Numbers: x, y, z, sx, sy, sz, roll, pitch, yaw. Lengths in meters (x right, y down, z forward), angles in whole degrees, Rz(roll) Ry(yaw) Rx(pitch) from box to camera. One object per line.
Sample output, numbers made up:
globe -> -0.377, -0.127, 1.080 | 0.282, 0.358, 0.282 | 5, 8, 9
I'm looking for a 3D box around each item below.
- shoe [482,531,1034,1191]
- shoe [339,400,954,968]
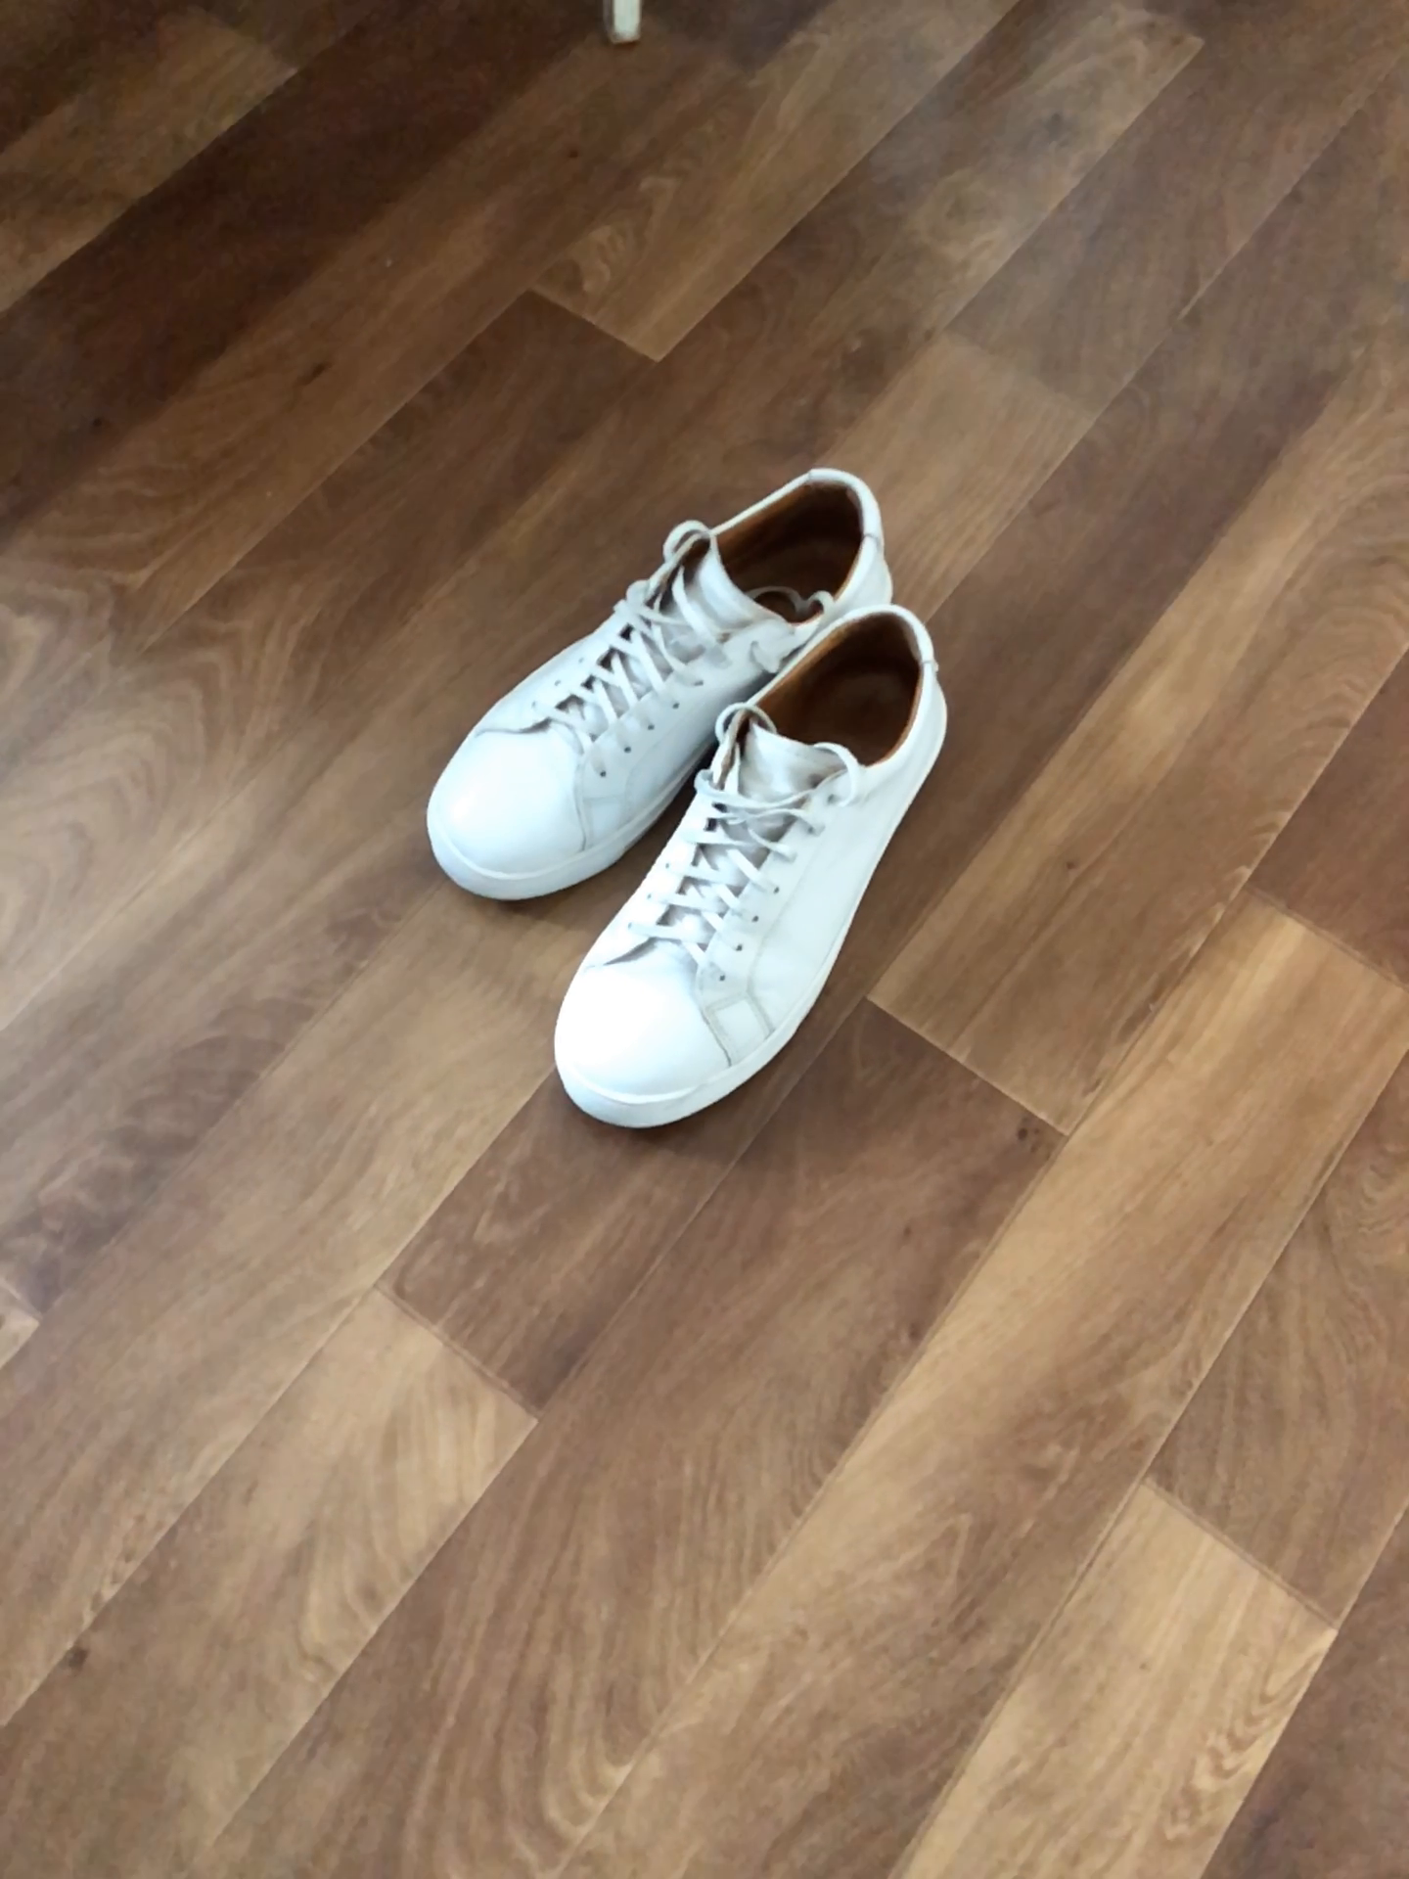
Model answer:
shoe -> 0.029, -0.039, 0.716 | 0.110, 0.090, 0.281 | 30, 71, 12
shoe -> -0.023, -0.127, 0.757 | 0.280, 0.090, 0.110 | -39, 73, -14
